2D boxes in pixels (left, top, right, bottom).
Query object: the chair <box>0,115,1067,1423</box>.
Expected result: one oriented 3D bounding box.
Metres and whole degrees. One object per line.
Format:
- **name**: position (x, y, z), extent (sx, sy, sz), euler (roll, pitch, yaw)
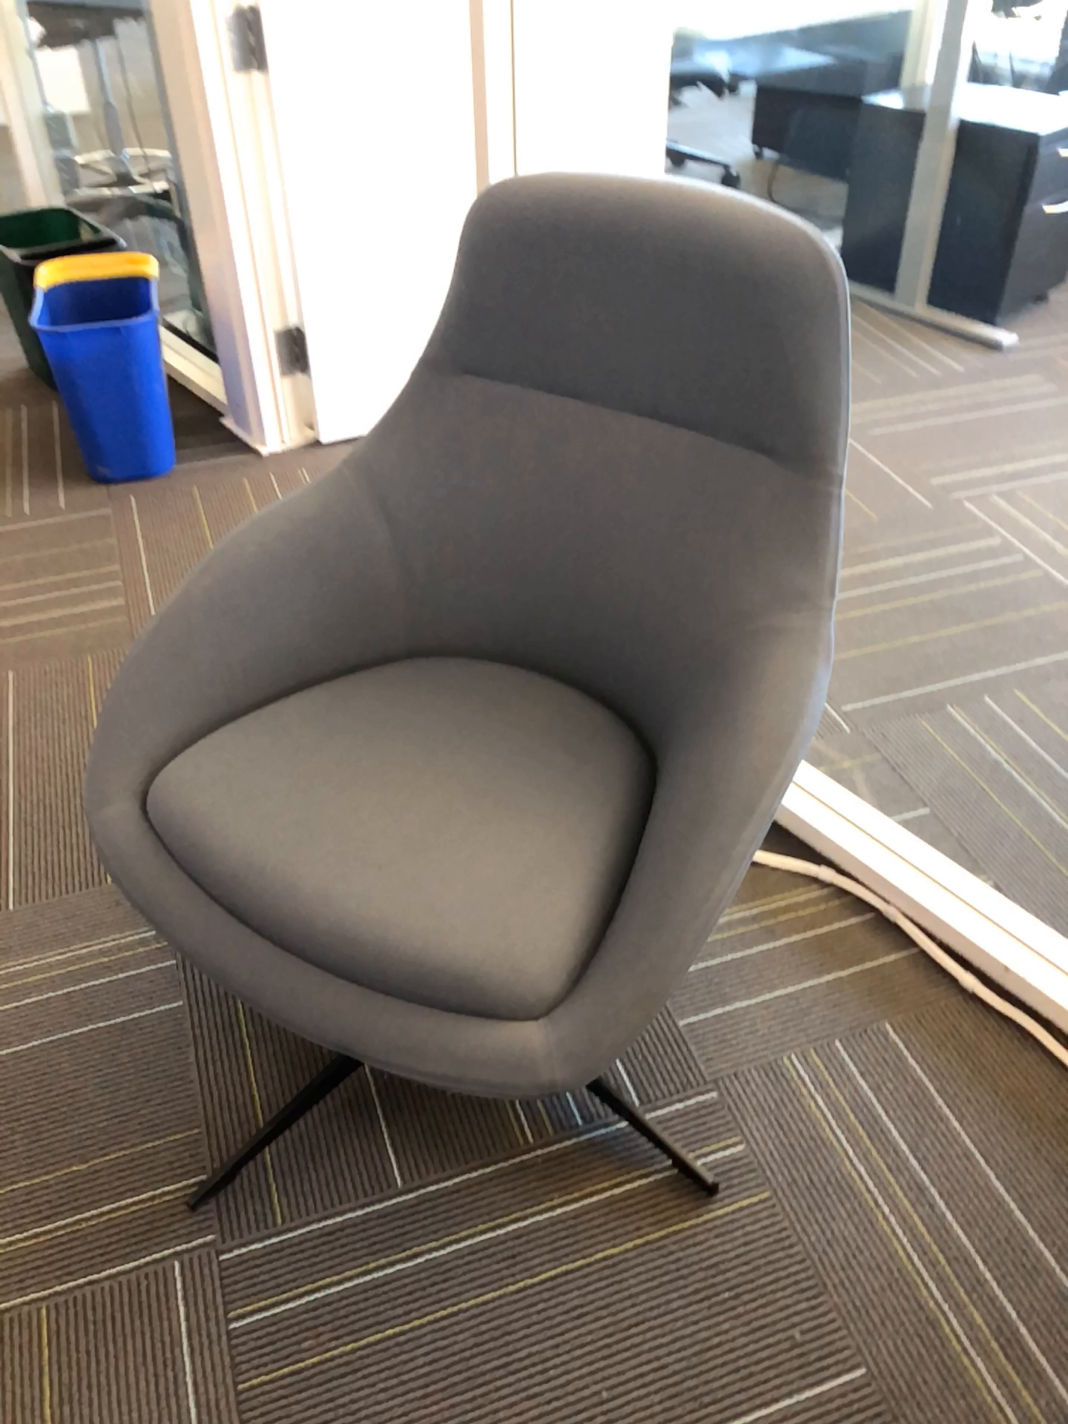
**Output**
- **chair**: position (-0.092, -0.004, 1.382), extent (0.932, 0.995, 0.962), euler (24, 45, 28)
